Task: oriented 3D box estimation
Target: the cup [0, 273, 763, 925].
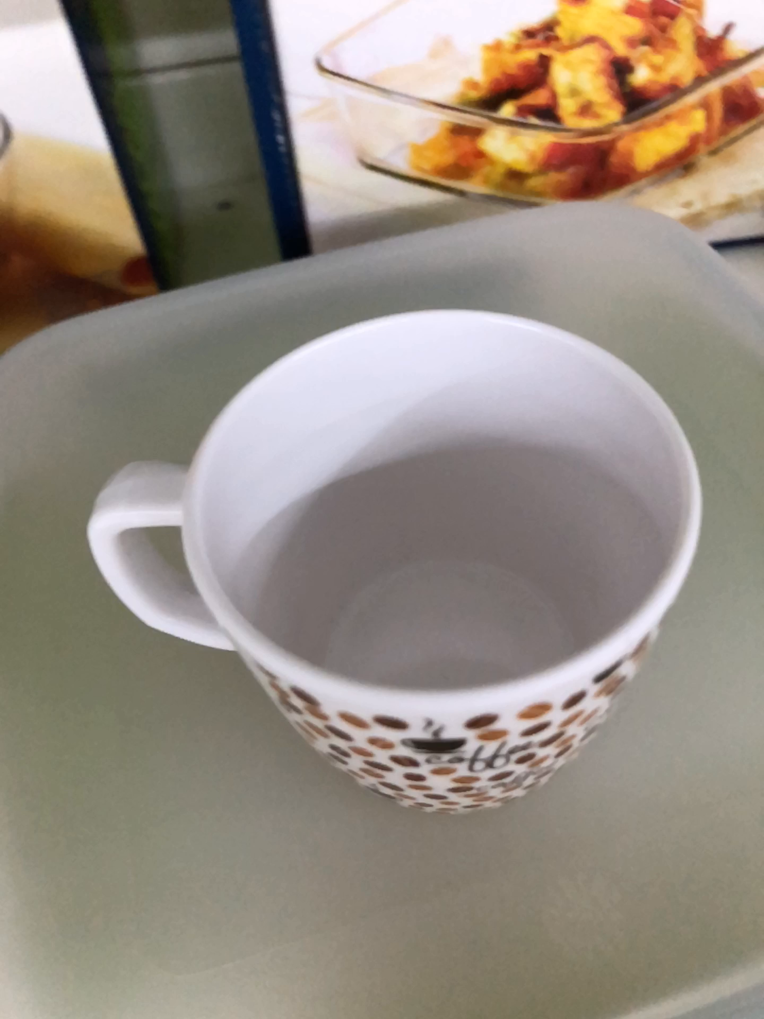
[{"bbox_3d":[0.001,0.009,0.110,0.080,0.050,0.060,3,51,8],"label":"cup"}]
